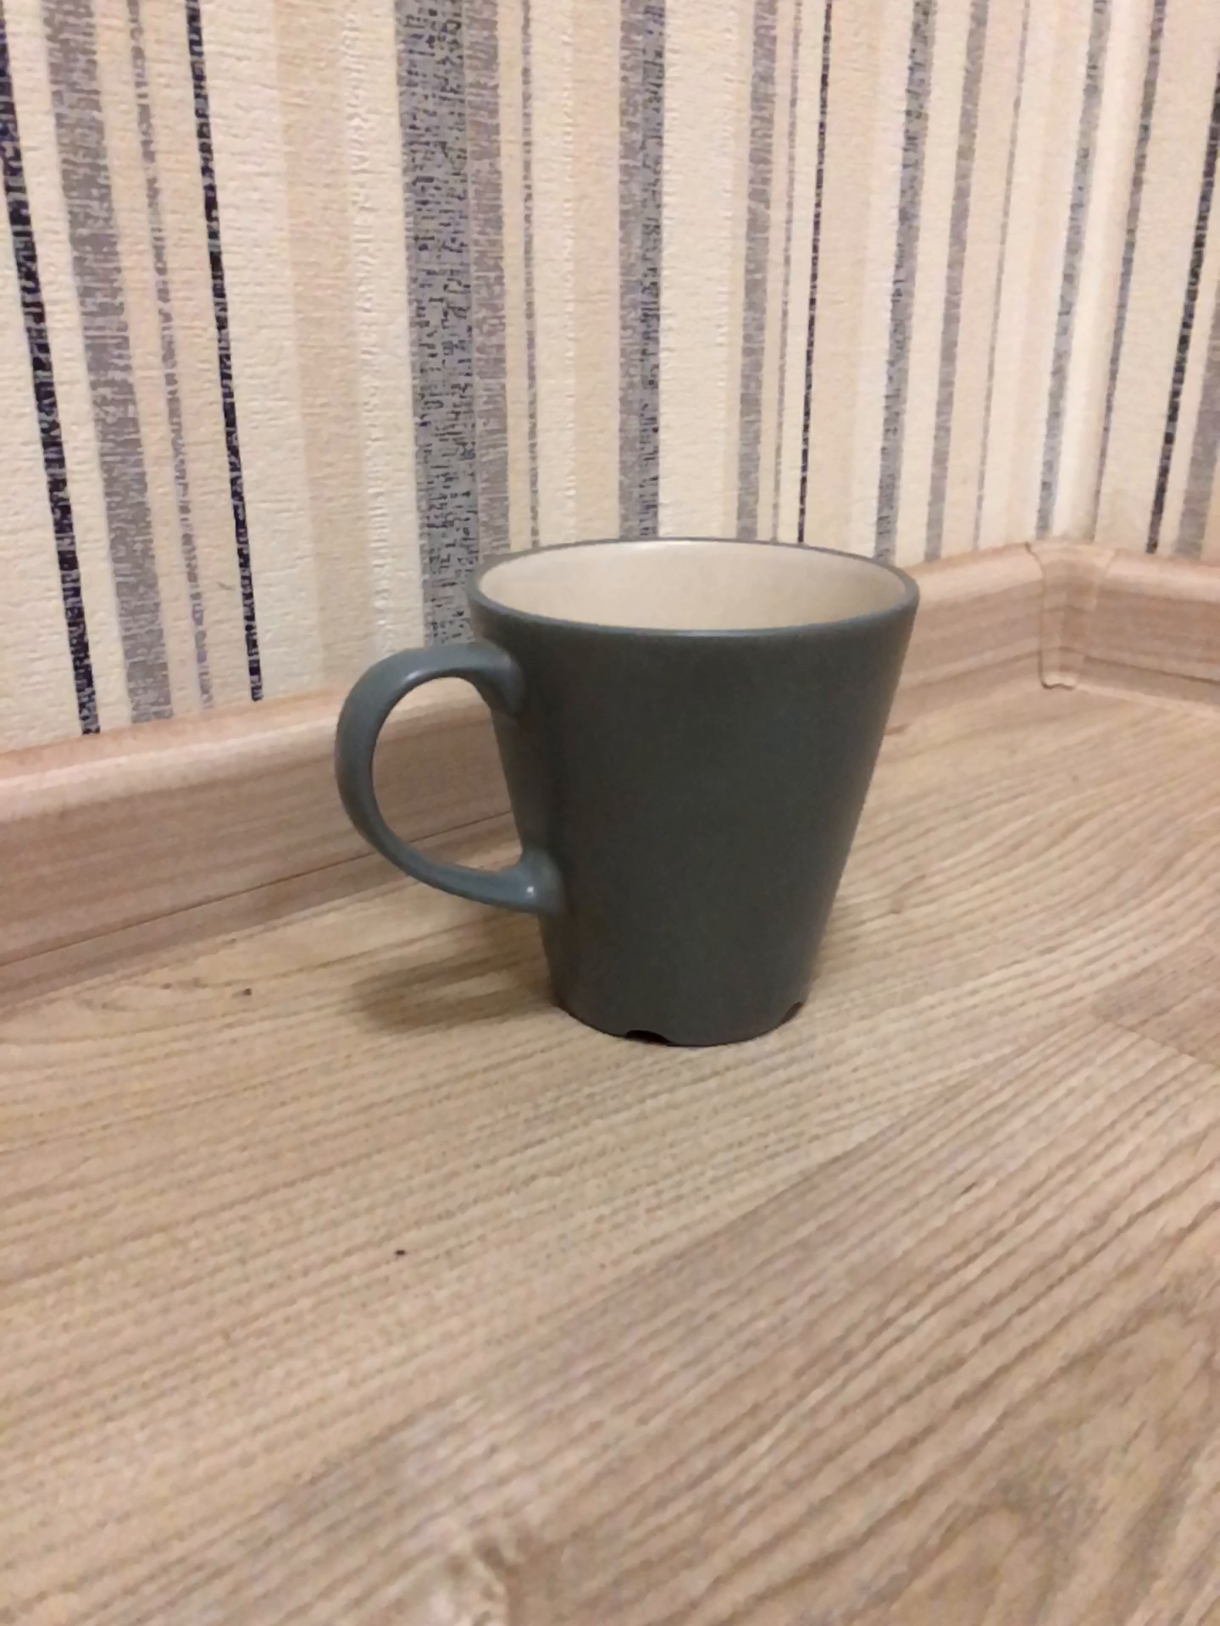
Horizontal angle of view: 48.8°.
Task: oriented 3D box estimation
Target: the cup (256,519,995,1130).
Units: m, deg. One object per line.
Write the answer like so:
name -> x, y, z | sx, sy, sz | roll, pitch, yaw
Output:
cup -> 0.000, -0.010, 0.298 | 0.125, 0.089, 0.096 | -11, 23, -28
